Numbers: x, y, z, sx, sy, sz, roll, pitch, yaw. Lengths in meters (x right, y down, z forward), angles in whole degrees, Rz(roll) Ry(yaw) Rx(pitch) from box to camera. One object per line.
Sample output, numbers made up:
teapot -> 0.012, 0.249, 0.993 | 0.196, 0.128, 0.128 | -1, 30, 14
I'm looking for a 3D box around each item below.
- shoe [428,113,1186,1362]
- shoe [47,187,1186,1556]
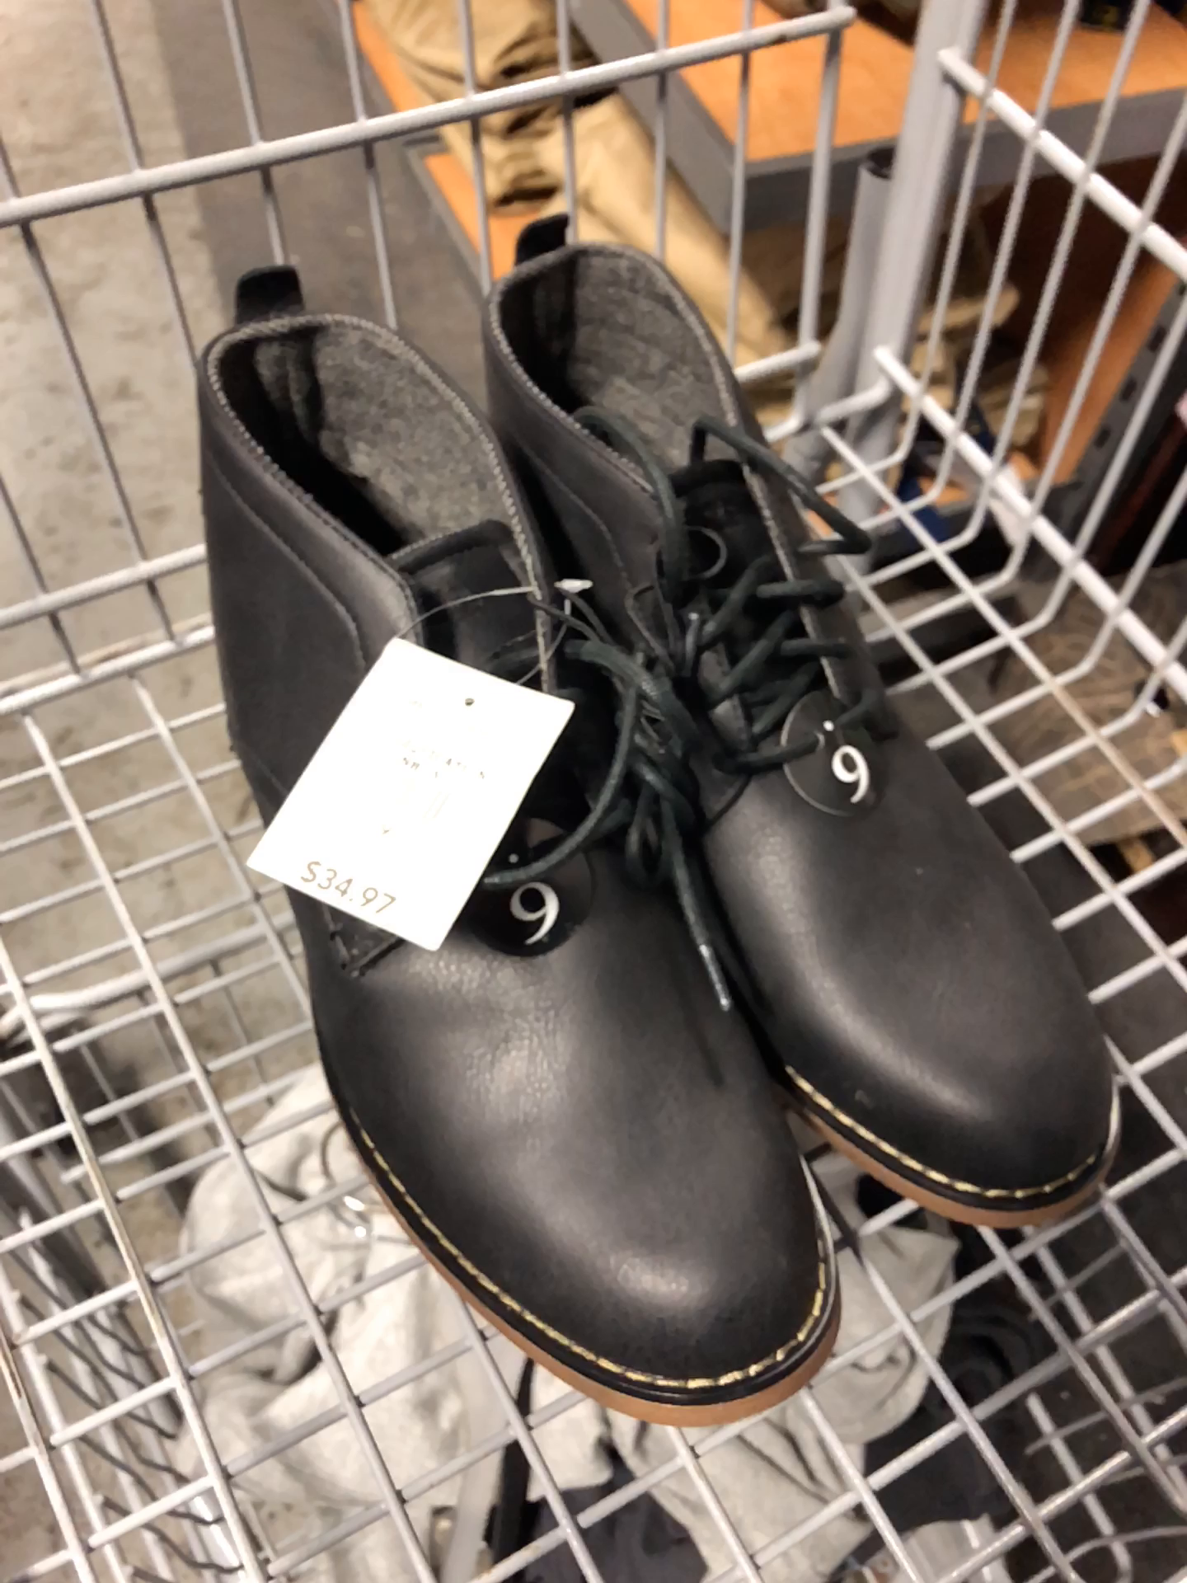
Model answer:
shoe -> 0.057, -0.011, 0.370 | 0.100, 0.199, 0.271 | -22, 63, -18
shoe -> -0.021, 0.026, 0.328 | 0.100, 0.199, 0.261 | -22, 63, -18
